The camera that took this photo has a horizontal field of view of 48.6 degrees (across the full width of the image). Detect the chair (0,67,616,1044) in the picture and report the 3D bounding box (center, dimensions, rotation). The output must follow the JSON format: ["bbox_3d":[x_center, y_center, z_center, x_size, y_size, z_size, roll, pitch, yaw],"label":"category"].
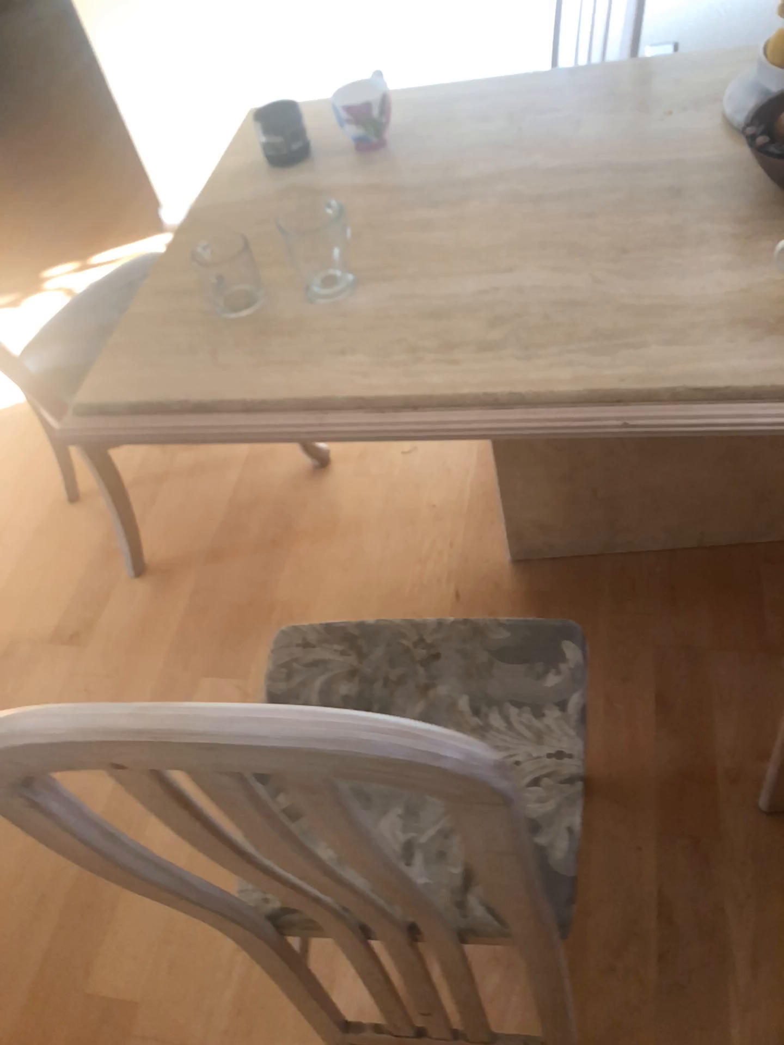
[{"bbox_3d":[-0.002,0.213,1.017,0.480,1.142,0.564,-2,50,13],"label":"chair"}]

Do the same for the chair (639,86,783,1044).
[{"bbox_3d":[0.557,0.270,0.942,0.480,1.142,0.564,-6,47,10],"label":"chair"}]
